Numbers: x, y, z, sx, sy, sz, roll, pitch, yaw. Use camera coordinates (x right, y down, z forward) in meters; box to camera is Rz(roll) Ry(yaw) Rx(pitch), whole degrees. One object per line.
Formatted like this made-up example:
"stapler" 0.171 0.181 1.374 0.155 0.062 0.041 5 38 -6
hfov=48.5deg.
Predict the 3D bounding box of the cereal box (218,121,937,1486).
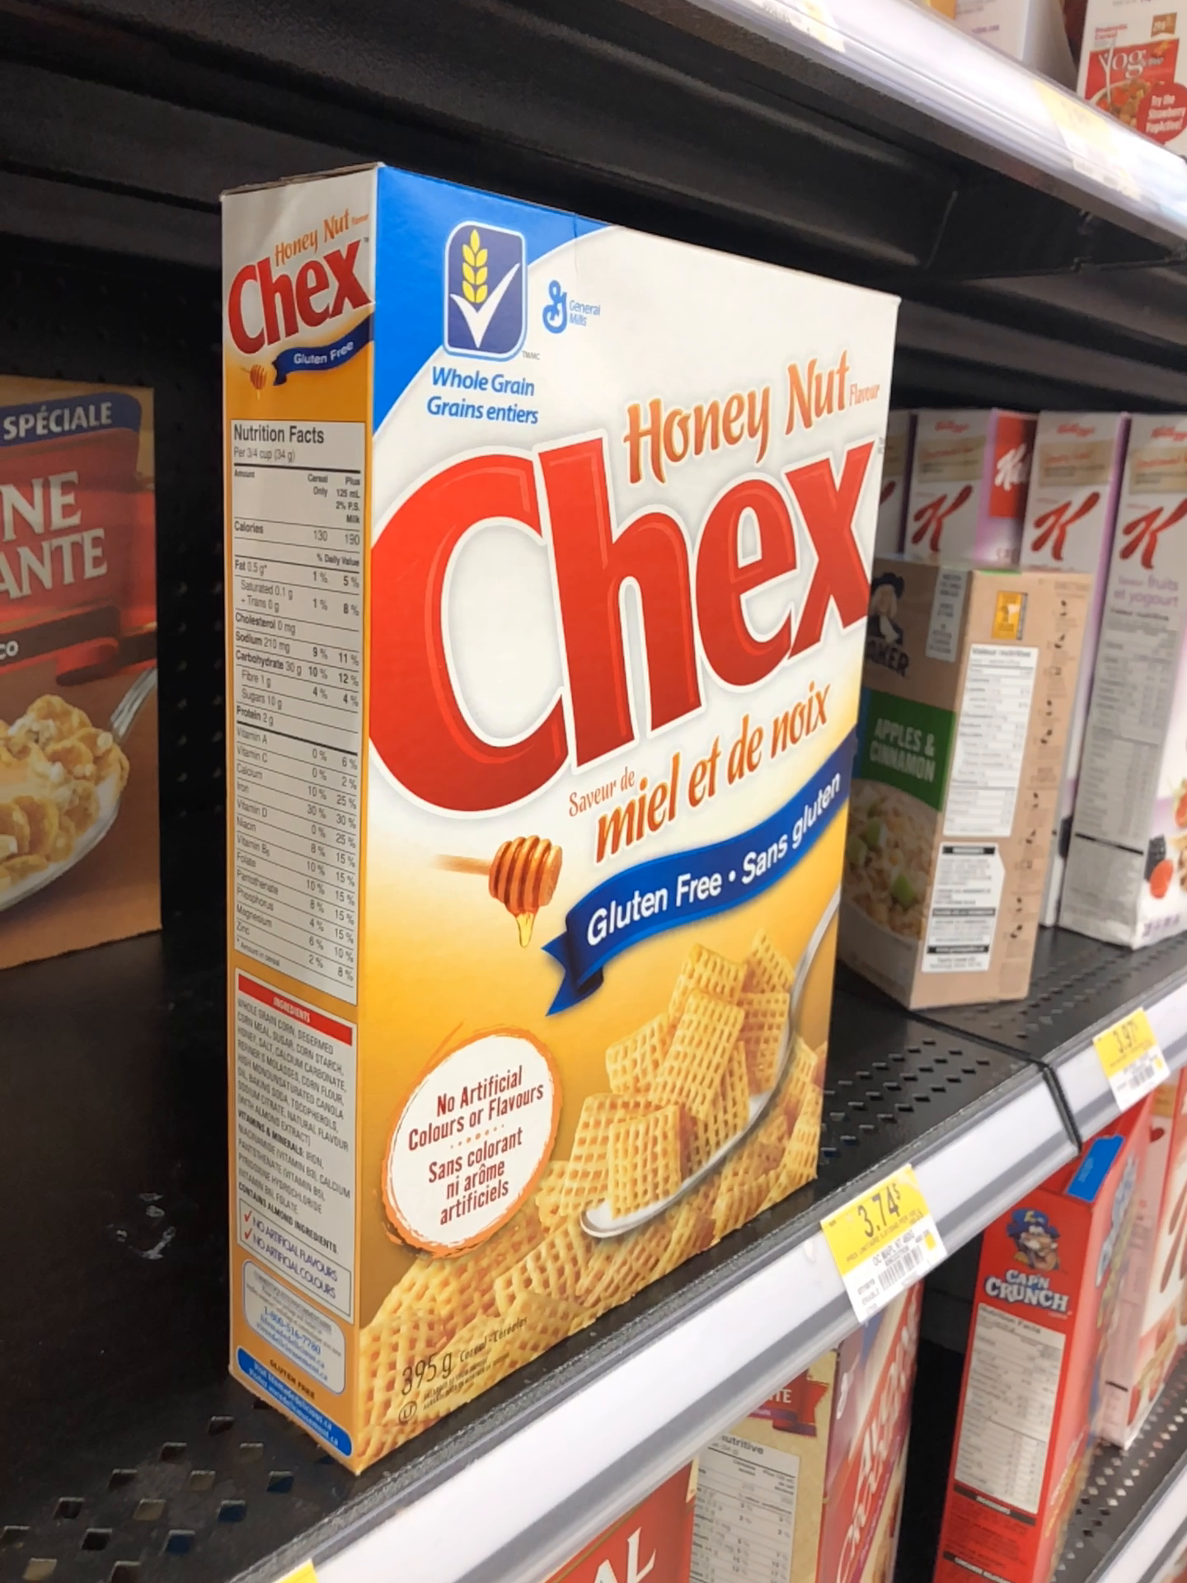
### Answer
"cereal box" 0.006 -0.002 0.356 0.050 0.279 0.211 13 16 40
